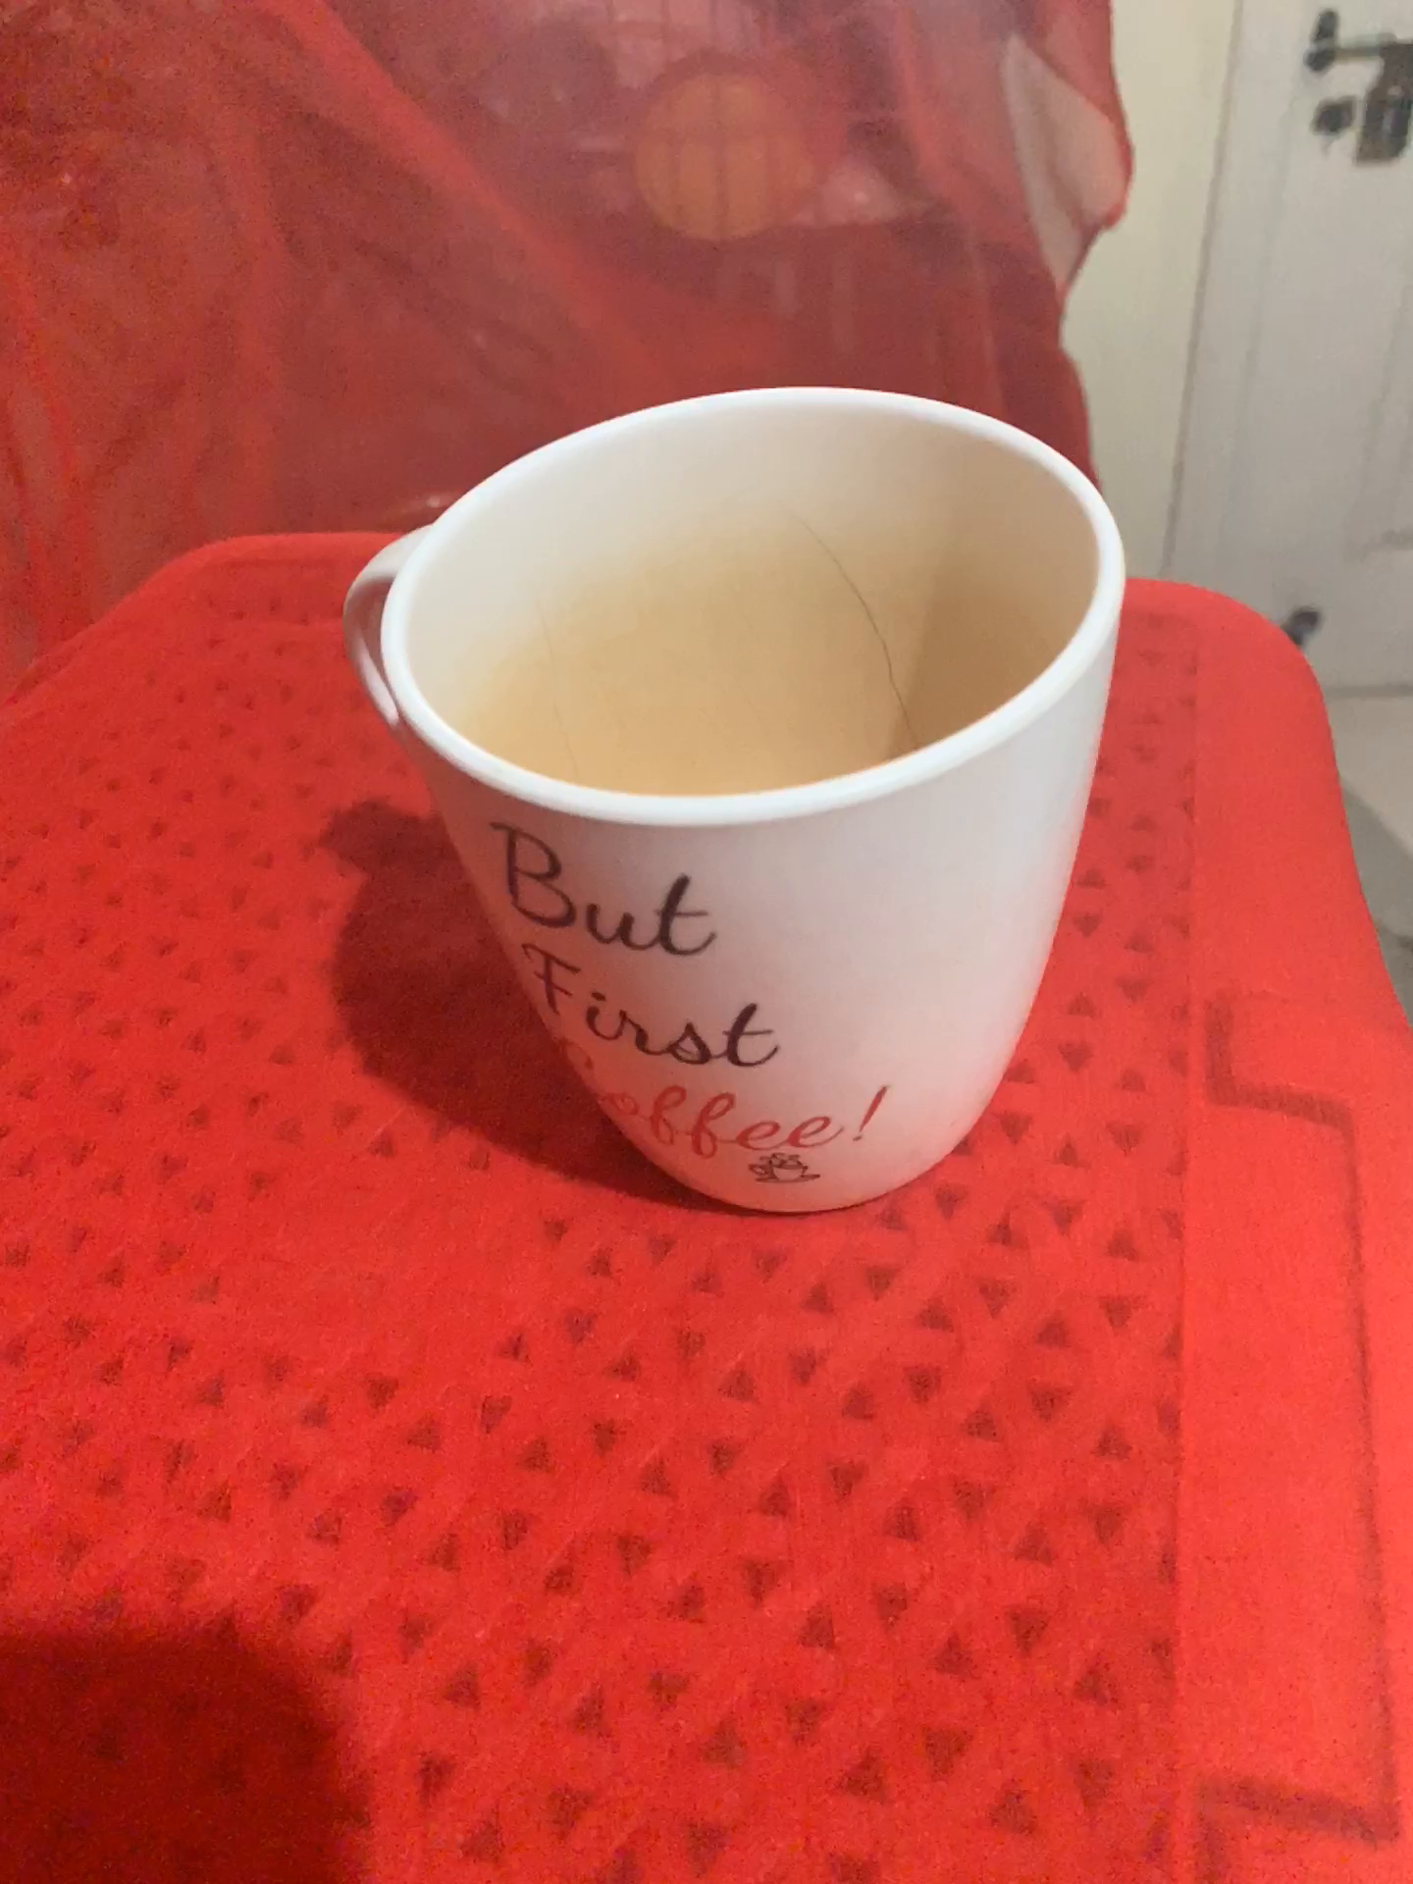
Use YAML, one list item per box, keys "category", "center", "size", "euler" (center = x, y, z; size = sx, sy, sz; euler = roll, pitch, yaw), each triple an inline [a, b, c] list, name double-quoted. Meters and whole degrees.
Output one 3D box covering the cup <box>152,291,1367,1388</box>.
- category: "cup"
  center: [0.009, -0.022, 0.200]
  size: [0.110, 0.079, 0.090]
  euler: [24, 54, 28]
